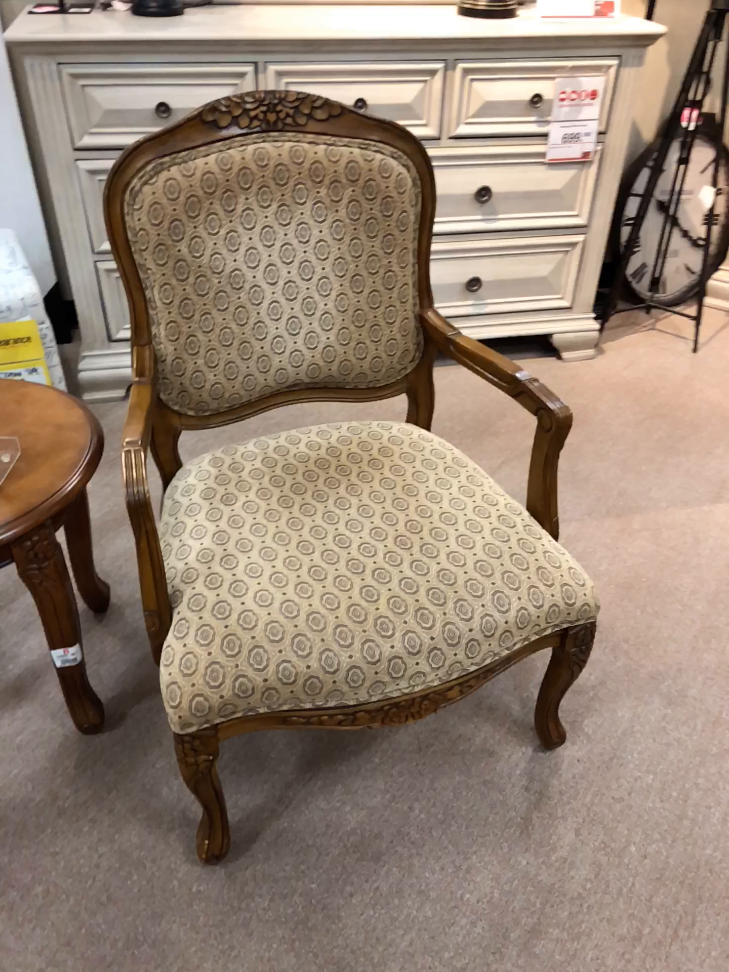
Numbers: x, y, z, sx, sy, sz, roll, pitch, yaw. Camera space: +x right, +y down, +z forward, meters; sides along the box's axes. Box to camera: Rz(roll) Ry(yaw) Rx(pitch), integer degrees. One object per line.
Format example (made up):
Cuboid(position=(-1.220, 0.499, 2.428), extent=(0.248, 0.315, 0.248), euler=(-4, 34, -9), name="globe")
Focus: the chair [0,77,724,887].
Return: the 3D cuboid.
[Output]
Cuboid(position=(-0.090, -0.032, 1.372), extent=(0.780, 1.062, 0.705), euler=(-11, 39, -16), name="chair")
